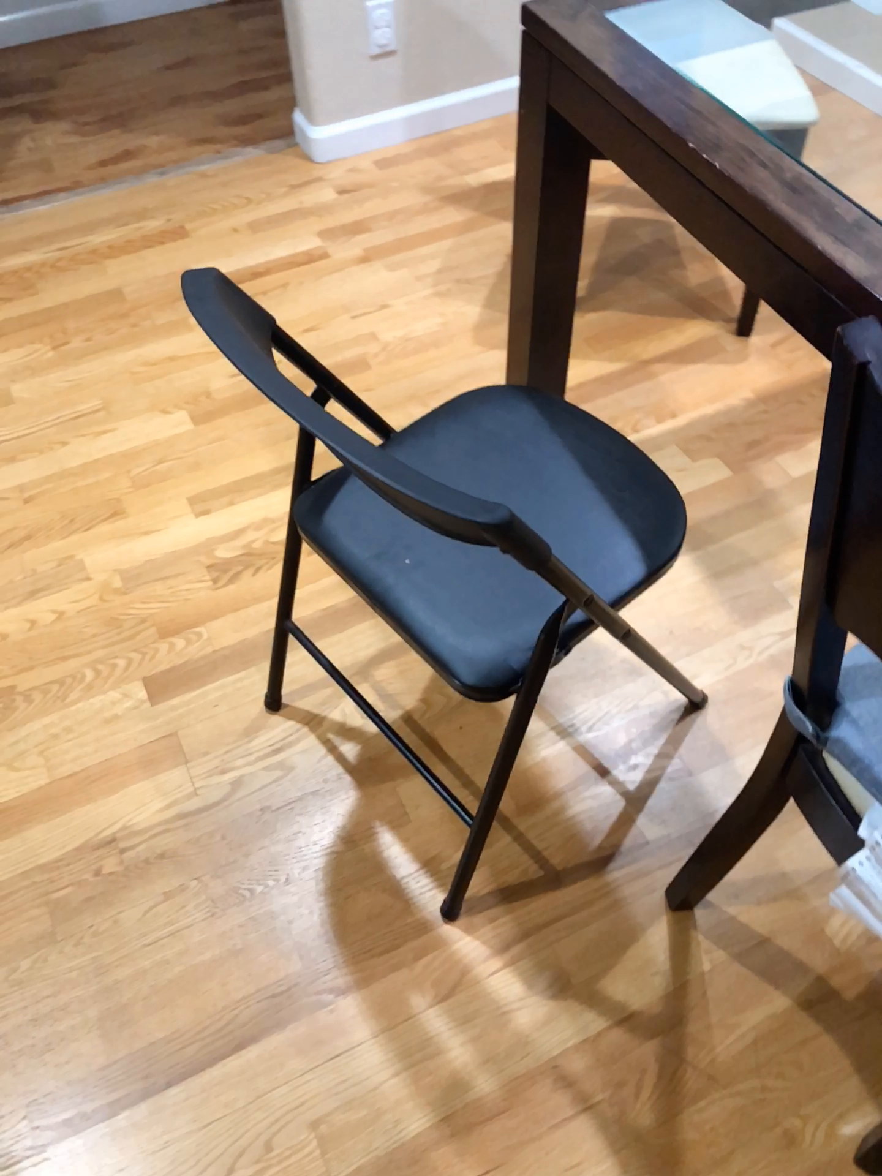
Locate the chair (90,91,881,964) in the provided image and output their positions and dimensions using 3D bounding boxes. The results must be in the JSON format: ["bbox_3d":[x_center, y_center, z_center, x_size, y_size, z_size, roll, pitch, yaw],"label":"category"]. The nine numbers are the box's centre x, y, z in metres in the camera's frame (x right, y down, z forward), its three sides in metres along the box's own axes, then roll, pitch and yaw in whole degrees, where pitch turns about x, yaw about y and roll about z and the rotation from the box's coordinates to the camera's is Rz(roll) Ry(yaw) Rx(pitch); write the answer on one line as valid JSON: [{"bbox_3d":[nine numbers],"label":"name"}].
[{"bbox_3d":[0.053,-0.049,1.122,0.521,0.697,0.522,-33,58,-22],"label":"chair"}]
